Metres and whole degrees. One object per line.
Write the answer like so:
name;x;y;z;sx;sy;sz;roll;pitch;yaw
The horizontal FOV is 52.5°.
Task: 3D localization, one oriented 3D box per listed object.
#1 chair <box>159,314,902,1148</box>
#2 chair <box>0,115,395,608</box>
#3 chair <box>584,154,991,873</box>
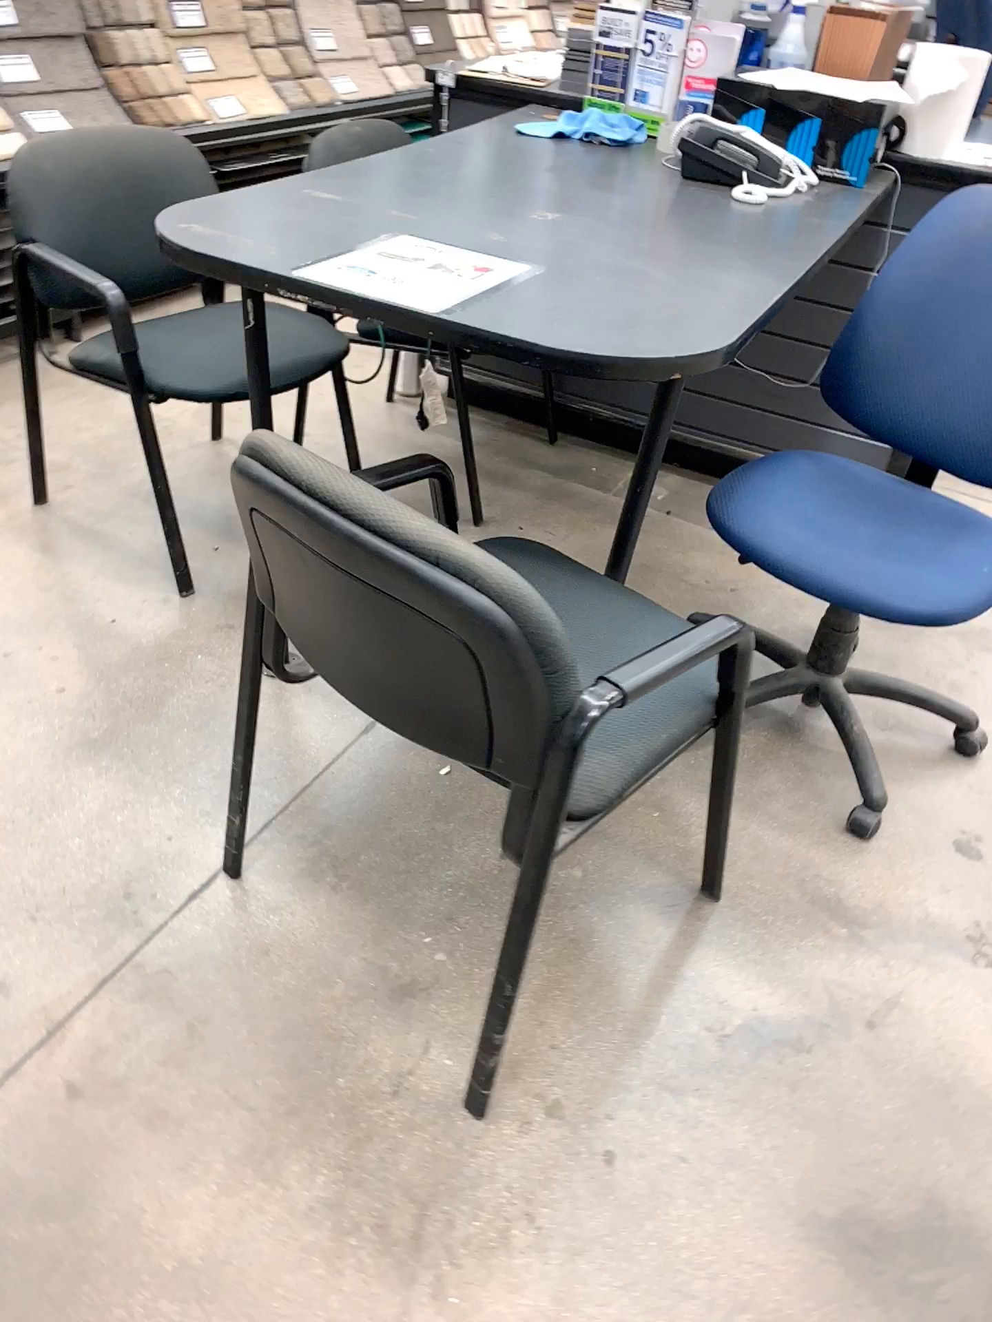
chair;0.015;0.048;1.355;0.605;0.750;0.587;33;44;31
chair;-0.664;-0.682;2.200;0.583;0.777;0.639;28;42;26
chair;0.695;-0.303;1.787;0.644;0.917;0.718;33;44;31
